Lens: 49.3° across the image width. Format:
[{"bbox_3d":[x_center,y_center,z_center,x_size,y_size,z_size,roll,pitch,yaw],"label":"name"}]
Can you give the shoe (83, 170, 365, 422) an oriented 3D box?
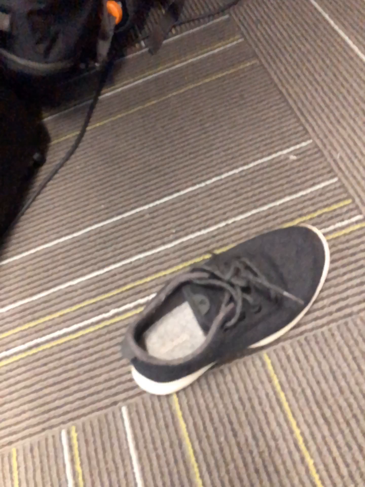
[{"bbox_3d":[0.048,0.052,0.419,0.270,0.070,0.120,-33,60,-4],"label":"shoe"}]
